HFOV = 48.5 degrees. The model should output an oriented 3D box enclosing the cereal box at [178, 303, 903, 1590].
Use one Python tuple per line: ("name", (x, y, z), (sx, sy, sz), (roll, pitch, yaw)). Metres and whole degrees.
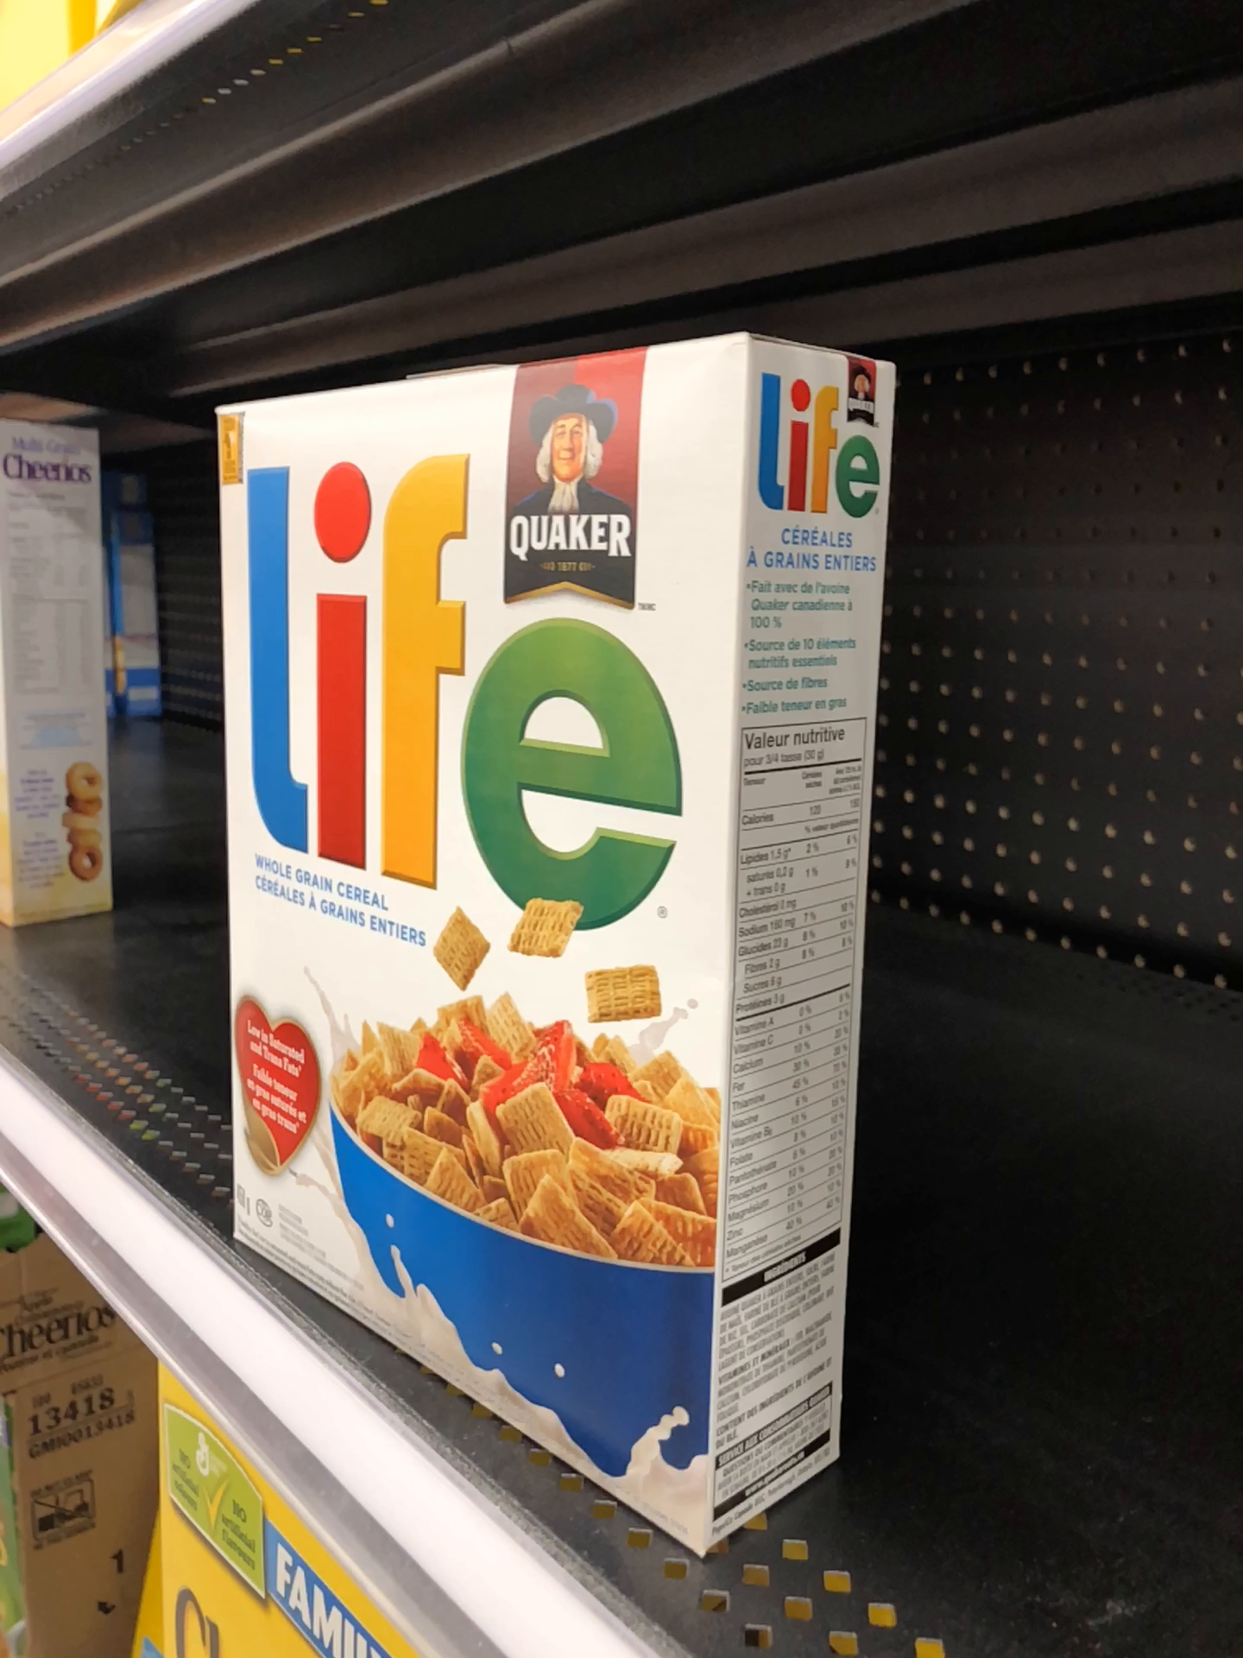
("cereal box", (-0.034, 0.015, 0.360), (0.060, 0.259, 0.200), (-9, 14, -44))
